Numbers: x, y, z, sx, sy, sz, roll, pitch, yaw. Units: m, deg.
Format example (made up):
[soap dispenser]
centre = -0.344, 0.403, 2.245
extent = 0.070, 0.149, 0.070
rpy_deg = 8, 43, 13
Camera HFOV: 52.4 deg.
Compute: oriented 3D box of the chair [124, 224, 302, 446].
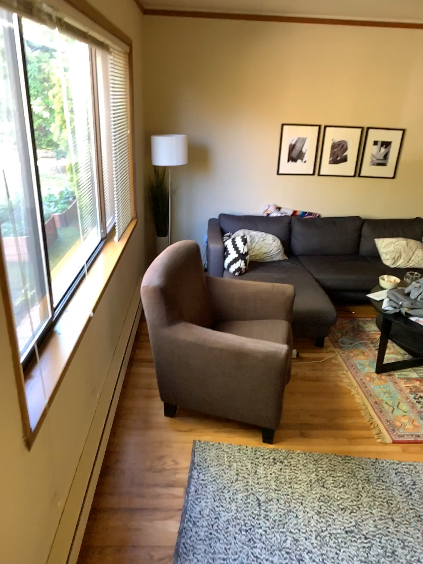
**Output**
[chair]
centre = 0.078, 0.223, 2.469
extent = 0.801, 0.875, 0.884
rpy_deg = 4, 22, 11
